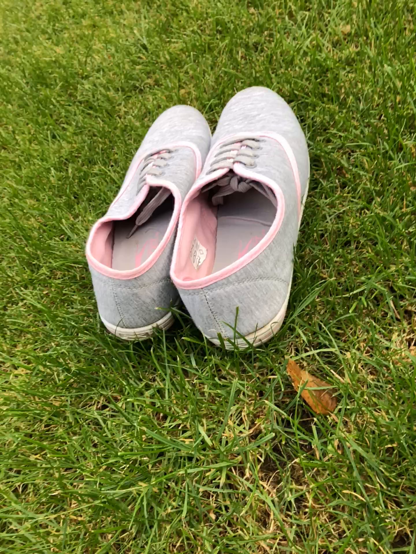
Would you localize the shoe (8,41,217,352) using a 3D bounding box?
[{"bbox_3d":[-0.065,-0.076,0.407,0.100,0.089,0.261,-8,56,22],"label":"shoe"}]

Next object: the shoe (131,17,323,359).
[{"bbox_3d":[0.027,-0.077,0.369,0.100,0.089,0.261,-8,56,22],"label":"shoe"}]
